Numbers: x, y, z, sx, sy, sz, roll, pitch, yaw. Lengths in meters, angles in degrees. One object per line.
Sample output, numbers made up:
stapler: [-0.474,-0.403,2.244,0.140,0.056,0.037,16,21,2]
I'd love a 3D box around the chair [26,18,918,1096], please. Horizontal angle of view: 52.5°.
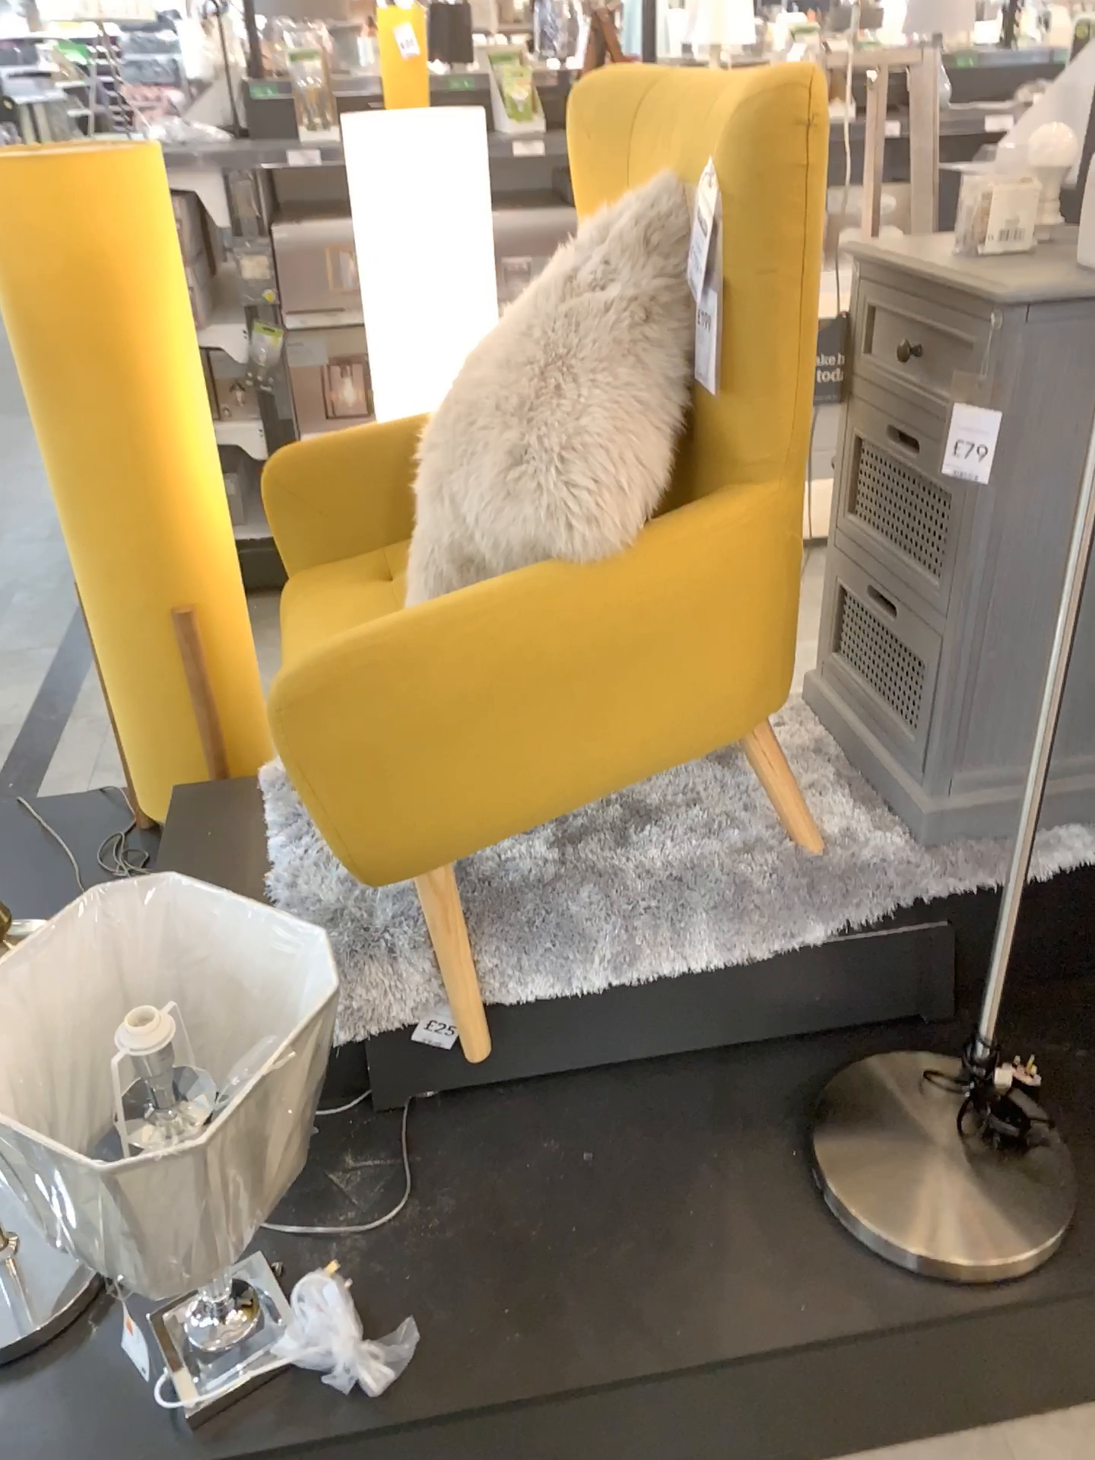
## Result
chair: [-0.020,-0.211,1.401,0.710,1.020,0.595,-16,32,-4]
